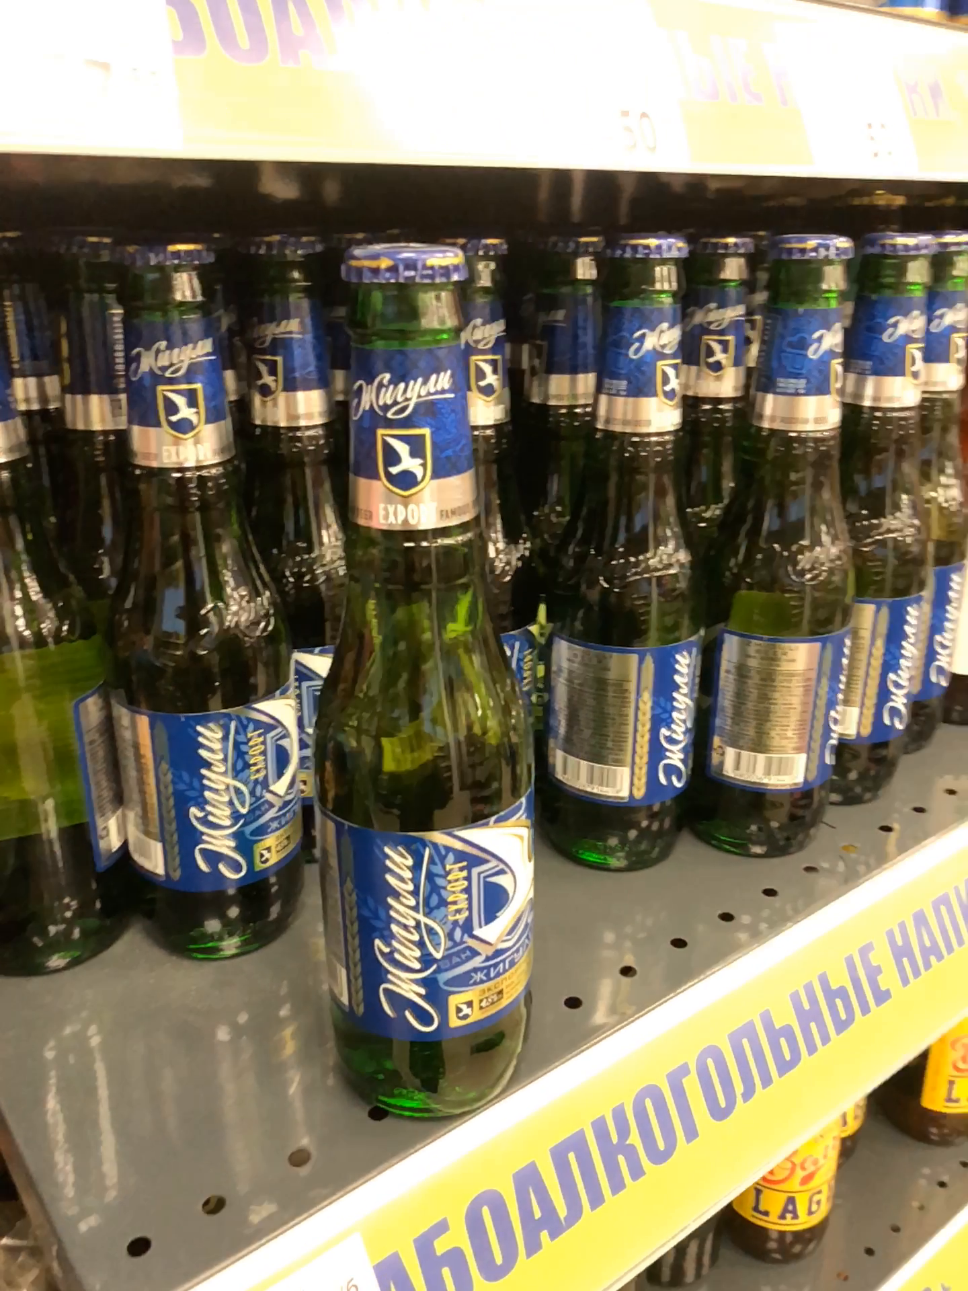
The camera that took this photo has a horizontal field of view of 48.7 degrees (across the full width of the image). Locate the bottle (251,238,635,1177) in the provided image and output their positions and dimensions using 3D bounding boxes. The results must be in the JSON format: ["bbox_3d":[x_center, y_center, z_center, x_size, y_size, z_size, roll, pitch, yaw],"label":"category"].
[{"bbox_3d":[-0.012,0.019,0.290,0.063,0.239,0.063,1,22,0],"label":"bottle"}]
